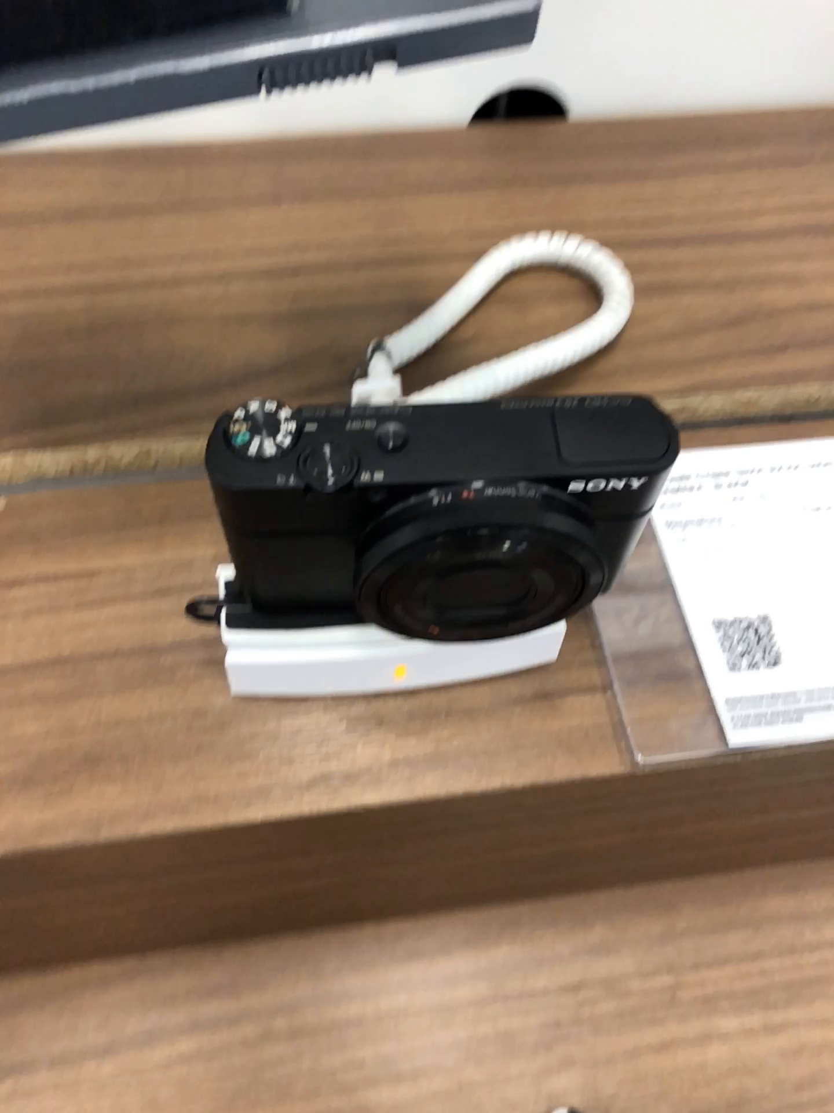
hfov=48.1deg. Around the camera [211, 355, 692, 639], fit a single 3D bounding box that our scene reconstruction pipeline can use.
[{"bbox_3d":[0.005,-0.012,0.230,0.100,0.070,0.030,-4,61,-5],"label":"camera"}]
